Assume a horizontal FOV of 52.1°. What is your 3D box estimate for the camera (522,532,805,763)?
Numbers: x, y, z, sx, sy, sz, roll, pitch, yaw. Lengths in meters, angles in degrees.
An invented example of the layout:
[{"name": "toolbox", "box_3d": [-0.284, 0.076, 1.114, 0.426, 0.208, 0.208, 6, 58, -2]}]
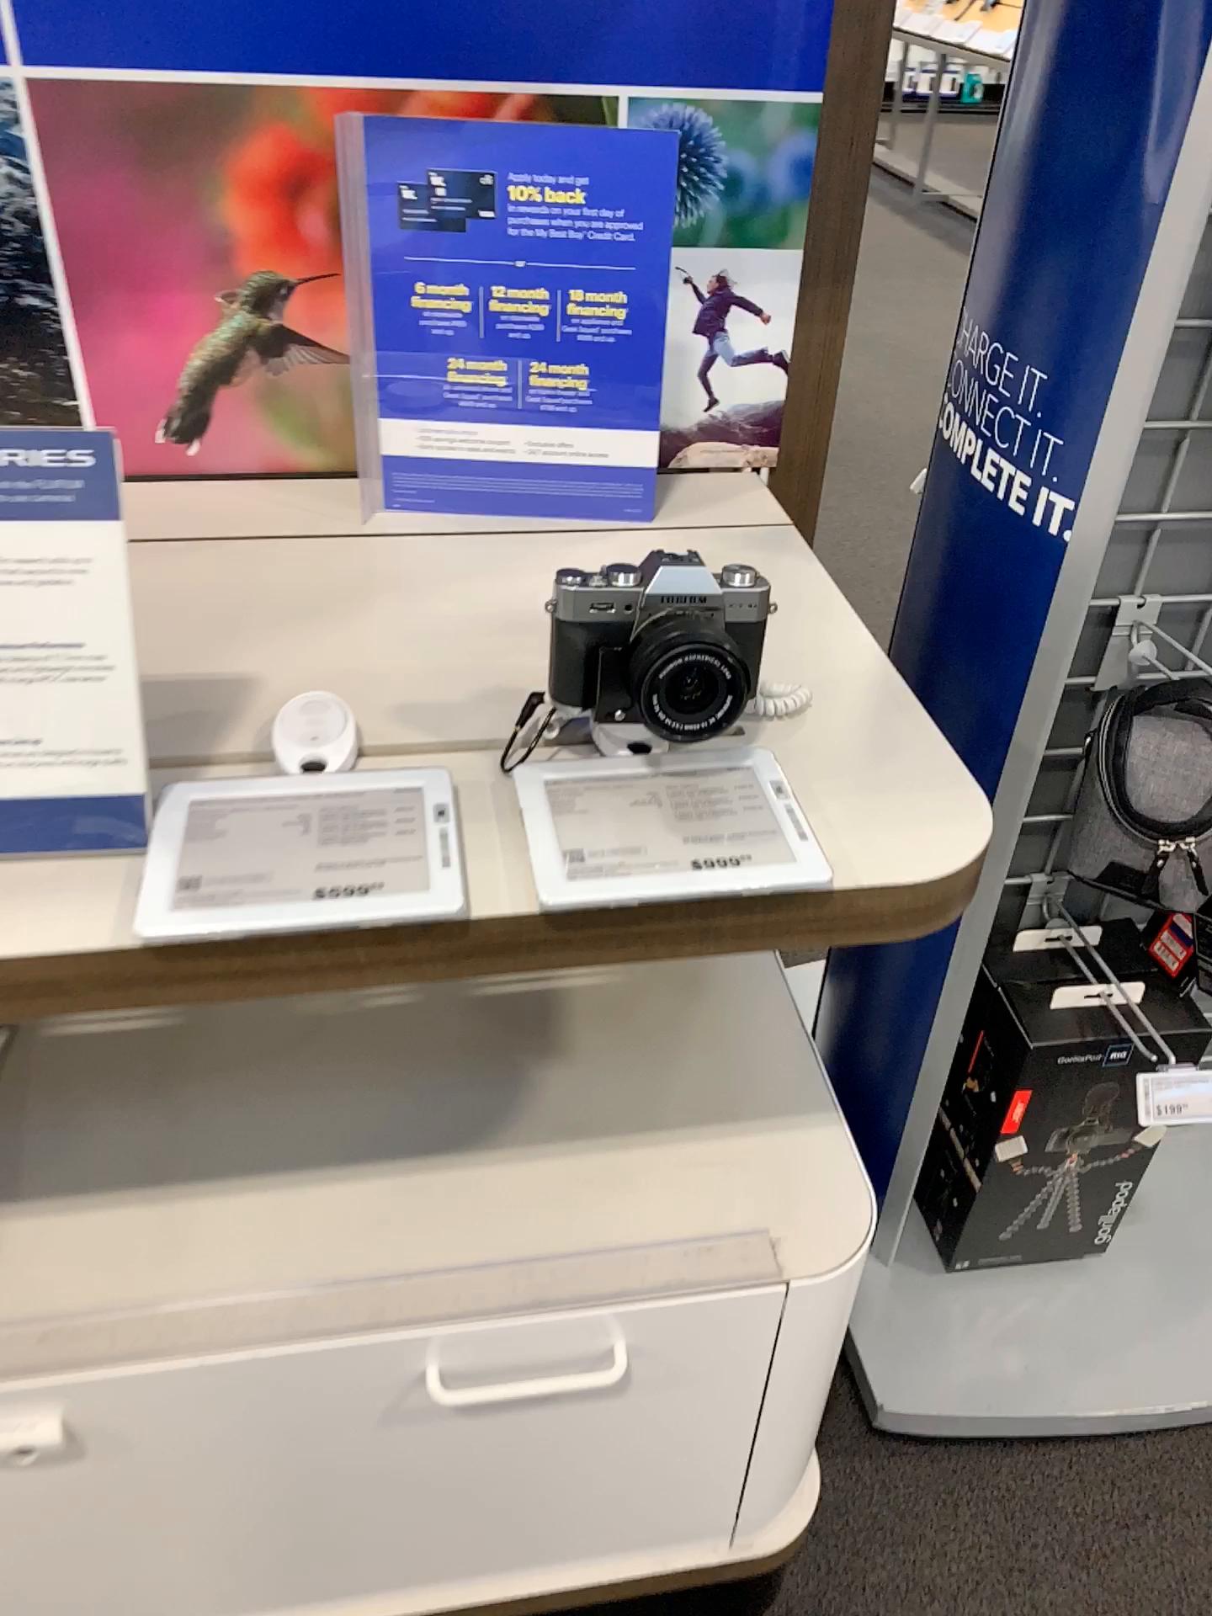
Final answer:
[{"name": "camera", "box_3d": [0.025, -0.088, 0.664, 0.130, 0.079, 0.101, -3, 37, -8]}]
